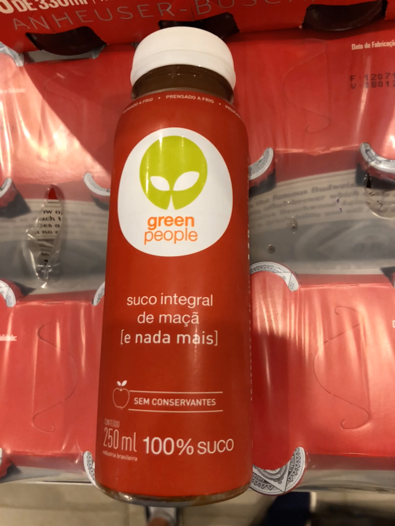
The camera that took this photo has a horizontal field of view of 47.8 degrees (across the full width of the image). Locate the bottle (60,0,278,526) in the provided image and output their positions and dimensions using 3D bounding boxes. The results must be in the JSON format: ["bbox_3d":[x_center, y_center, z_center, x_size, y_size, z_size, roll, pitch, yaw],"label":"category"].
[{"bbox_3d":[-0.004,-0.016,0.155,0.060,0.040,0.180,-1,80,10],"label":"bottle"}]
